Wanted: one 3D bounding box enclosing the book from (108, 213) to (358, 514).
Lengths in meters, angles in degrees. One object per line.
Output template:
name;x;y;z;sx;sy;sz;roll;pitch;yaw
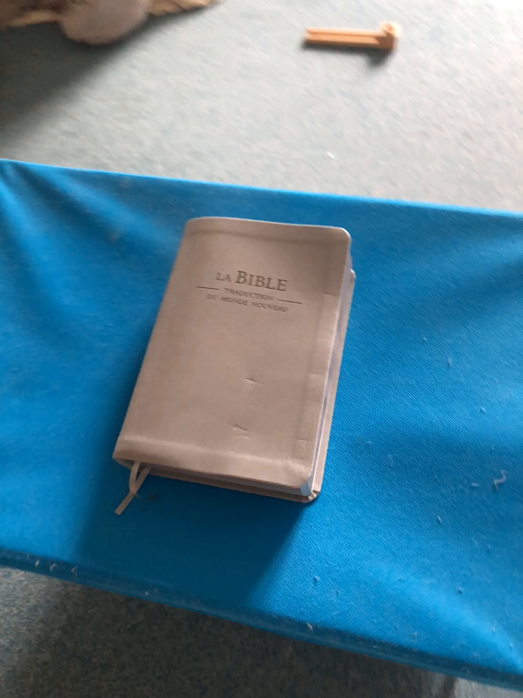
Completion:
book;-0.010;0.004;0.386;0.121;0.051;0.181;8;67;13
